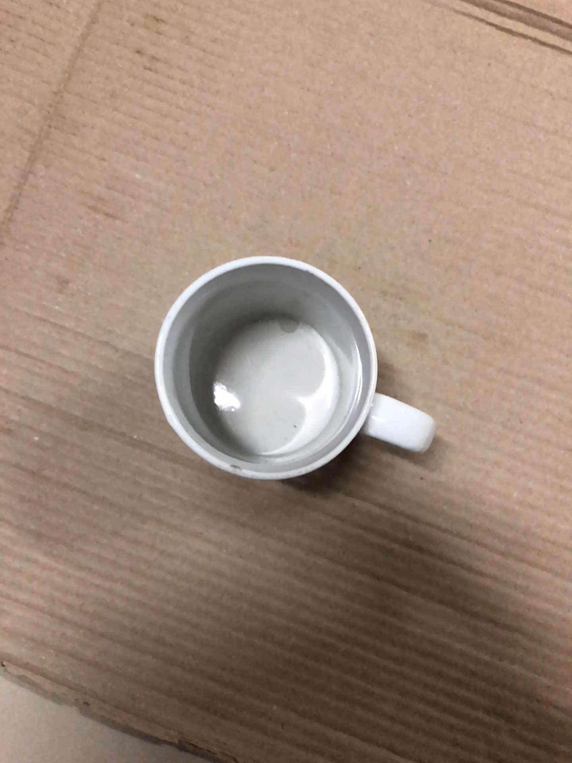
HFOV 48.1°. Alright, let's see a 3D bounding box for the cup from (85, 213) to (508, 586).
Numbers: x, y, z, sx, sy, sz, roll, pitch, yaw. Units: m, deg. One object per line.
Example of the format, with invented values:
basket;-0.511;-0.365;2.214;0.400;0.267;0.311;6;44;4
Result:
cup;0.003;0.011;0.251;0.110;0.100;0.080;24;81;3
